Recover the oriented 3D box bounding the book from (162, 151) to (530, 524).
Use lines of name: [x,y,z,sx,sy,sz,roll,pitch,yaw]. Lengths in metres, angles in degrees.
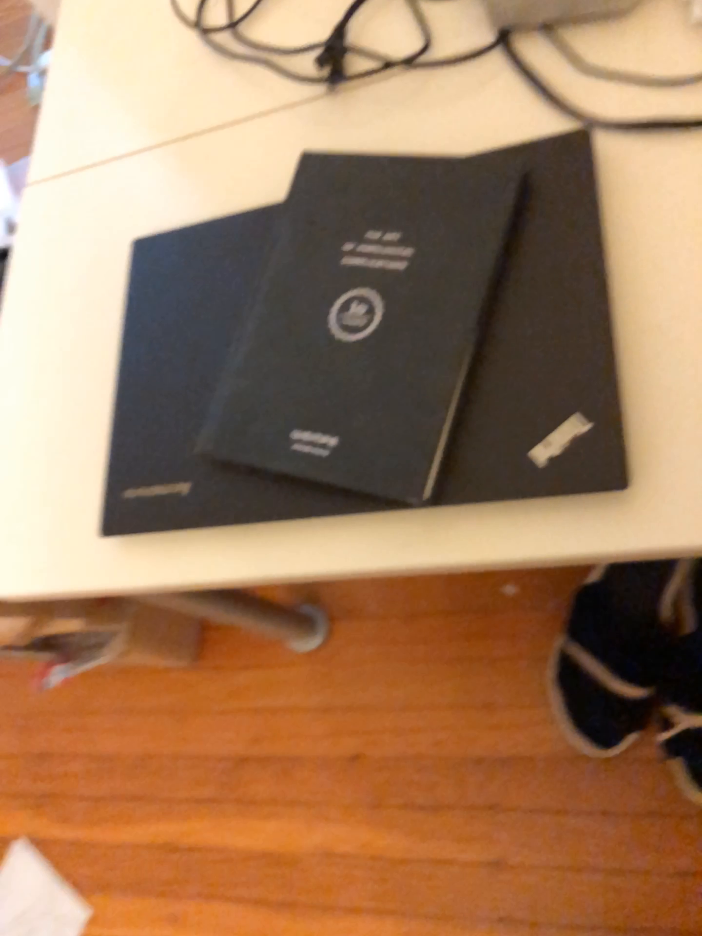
book: [-0.003,-0.092,0.483,0.170,0.030,0.220,11,76,27]
